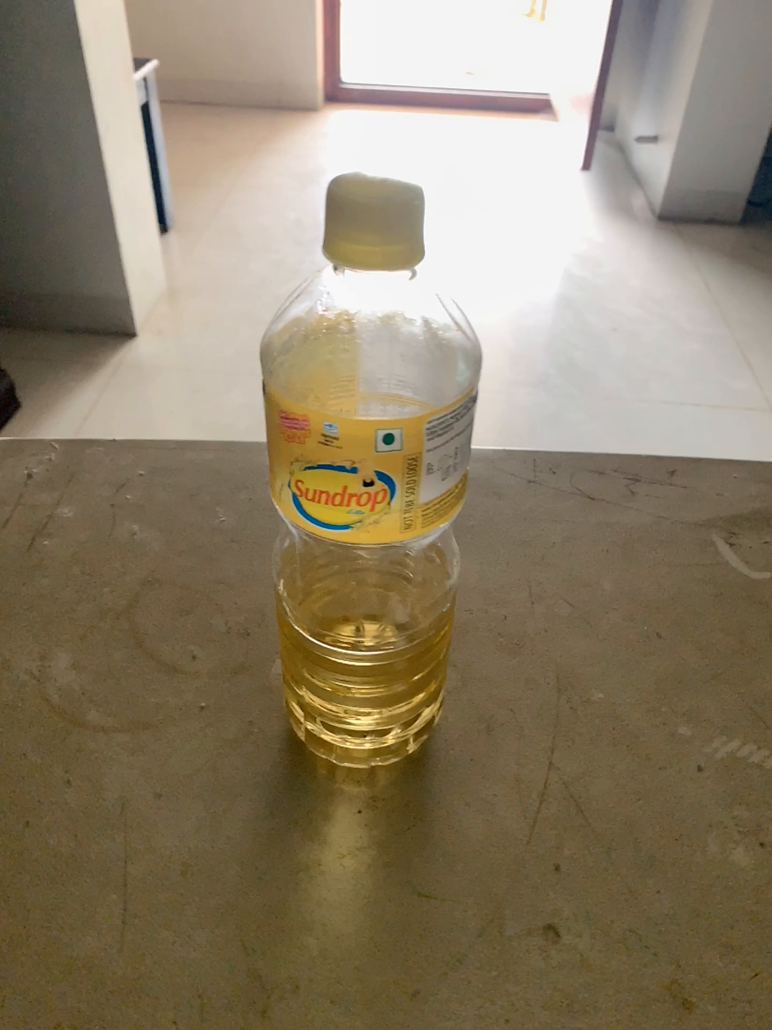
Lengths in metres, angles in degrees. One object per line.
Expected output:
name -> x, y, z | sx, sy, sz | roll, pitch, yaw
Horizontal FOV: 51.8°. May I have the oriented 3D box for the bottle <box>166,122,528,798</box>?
bottle -> -0.011, -0.003, 0.333 | 0.090, 0.269, 0.090 | 2, 41, -1
